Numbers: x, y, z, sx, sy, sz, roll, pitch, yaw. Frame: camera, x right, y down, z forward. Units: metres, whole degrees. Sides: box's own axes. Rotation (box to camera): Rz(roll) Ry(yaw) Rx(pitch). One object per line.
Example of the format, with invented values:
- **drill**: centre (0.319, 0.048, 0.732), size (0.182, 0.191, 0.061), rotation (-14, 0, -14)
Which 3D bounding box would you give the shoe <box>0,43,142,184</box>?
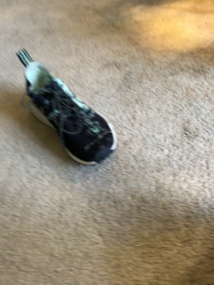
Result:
- **shoe**: centre (-0.078, -0.076, 0.471), size (0.131, 0.100, 0.287), rotation (-35, 56, -18)
